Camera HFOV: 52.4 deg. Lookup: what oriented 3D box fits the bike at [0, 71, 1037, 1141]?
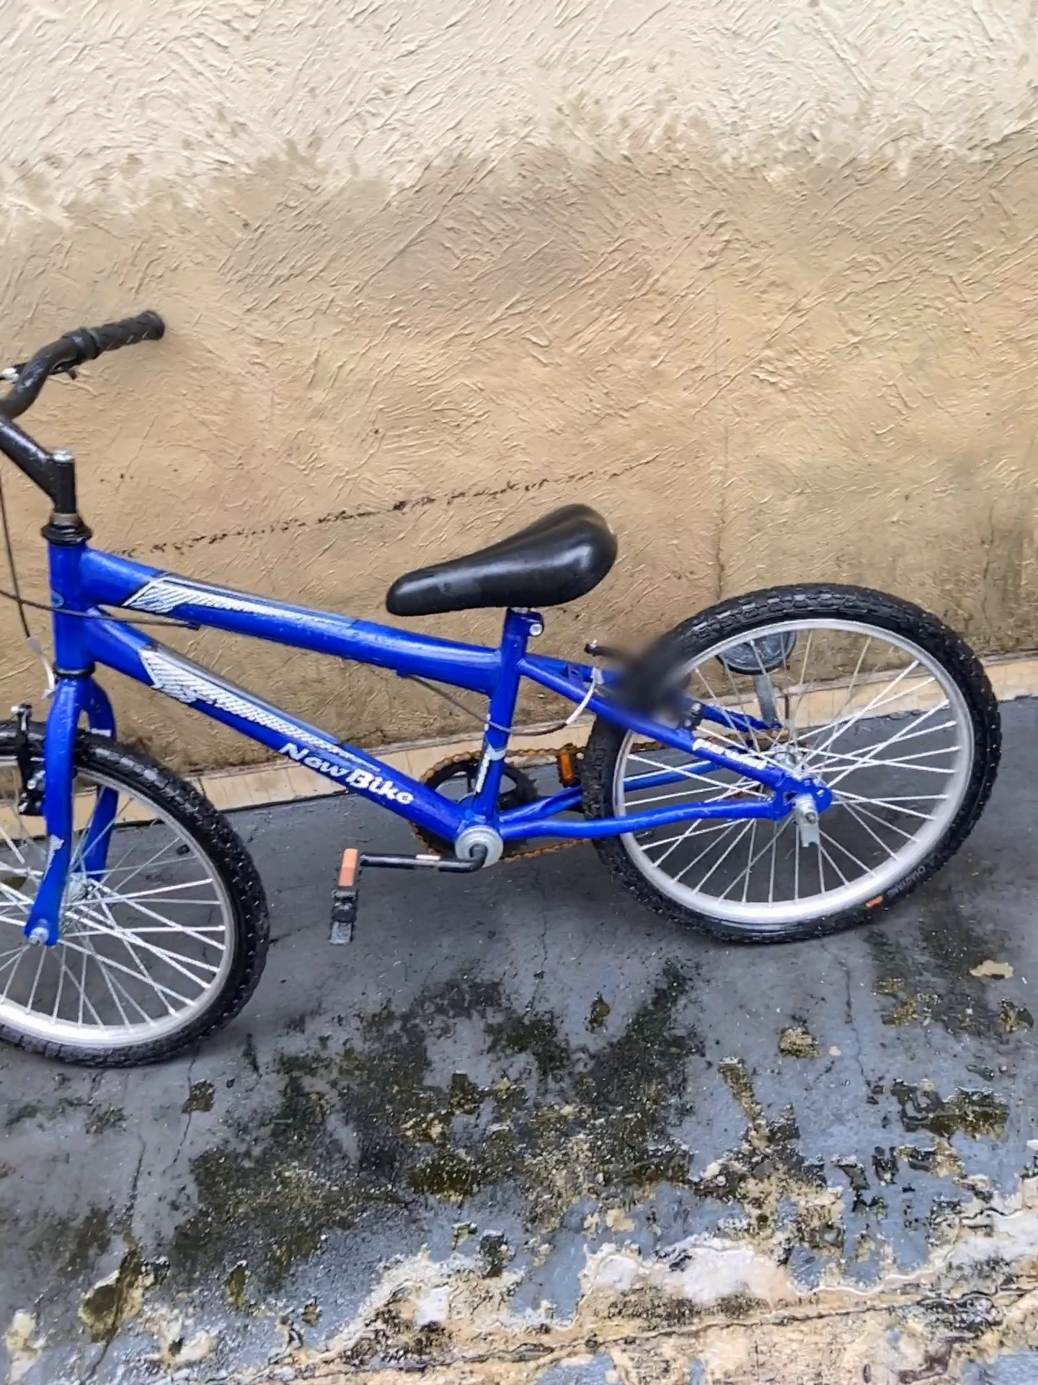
[{"bbox_3d":[-0.136,-0.071,1.127,1.249,0.849,0.546,-8,36,1],"label":"bike"}]
